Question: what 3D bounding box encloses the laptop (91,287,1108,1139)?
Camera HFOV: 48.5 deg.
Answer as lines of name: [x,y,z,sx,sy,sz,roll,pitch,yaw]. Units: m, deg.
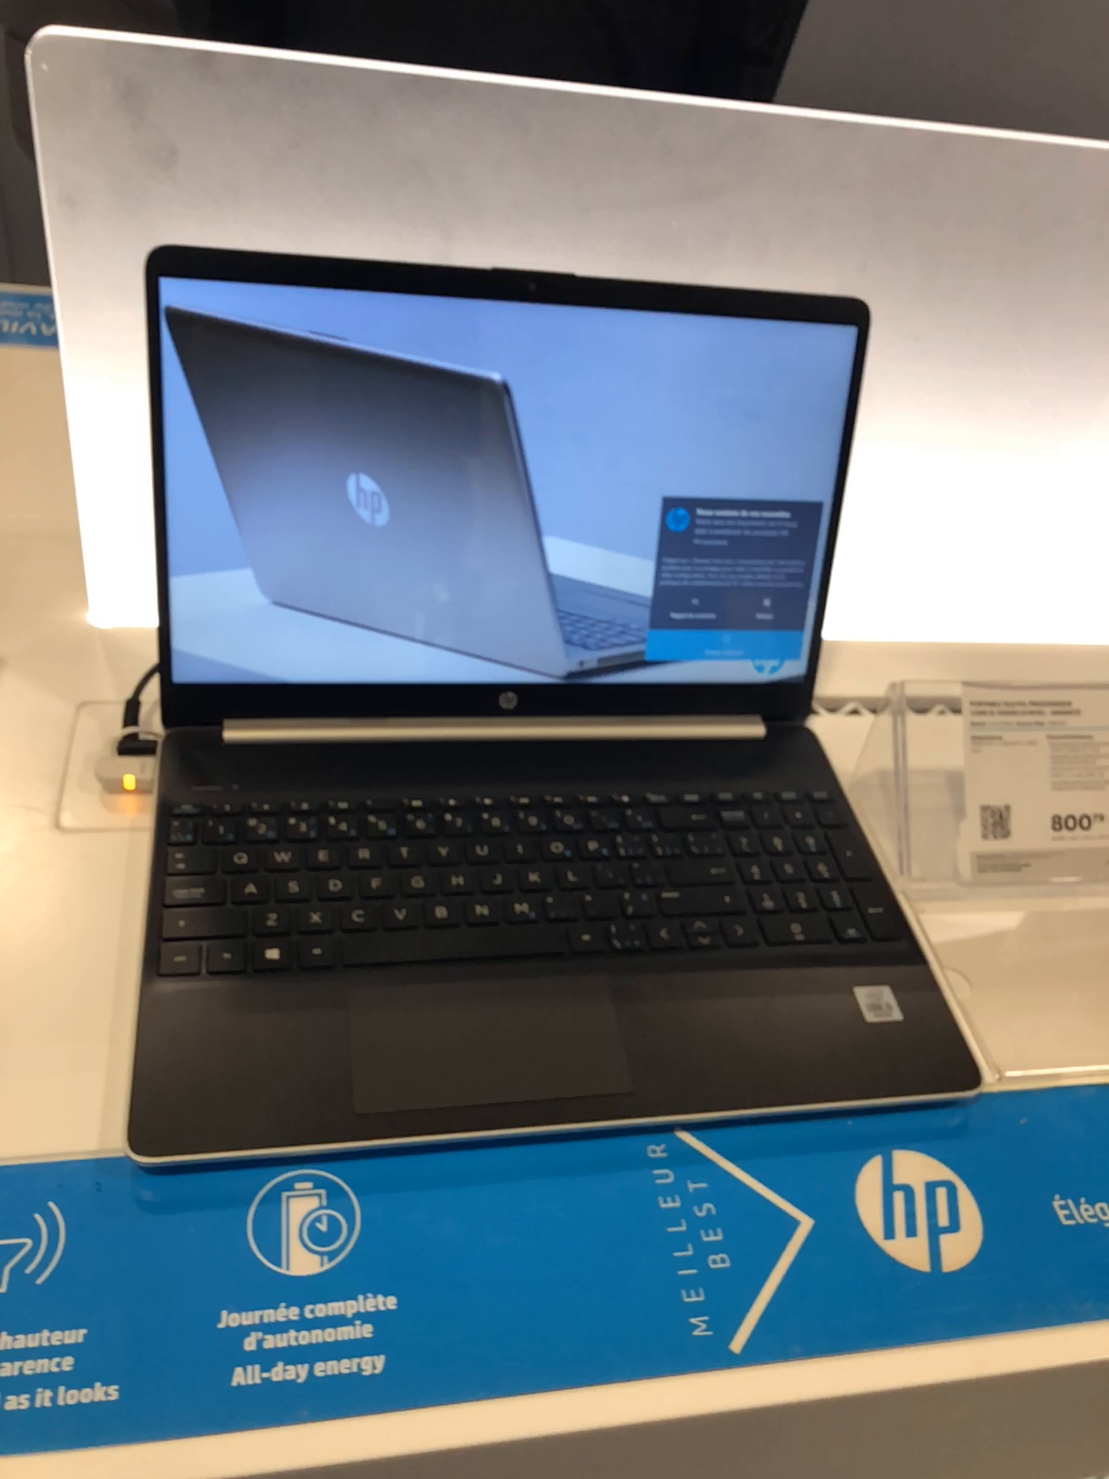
laptop: [0.006,-0.030,0.536,0.336,0.206,0.317,0,39,-12]
